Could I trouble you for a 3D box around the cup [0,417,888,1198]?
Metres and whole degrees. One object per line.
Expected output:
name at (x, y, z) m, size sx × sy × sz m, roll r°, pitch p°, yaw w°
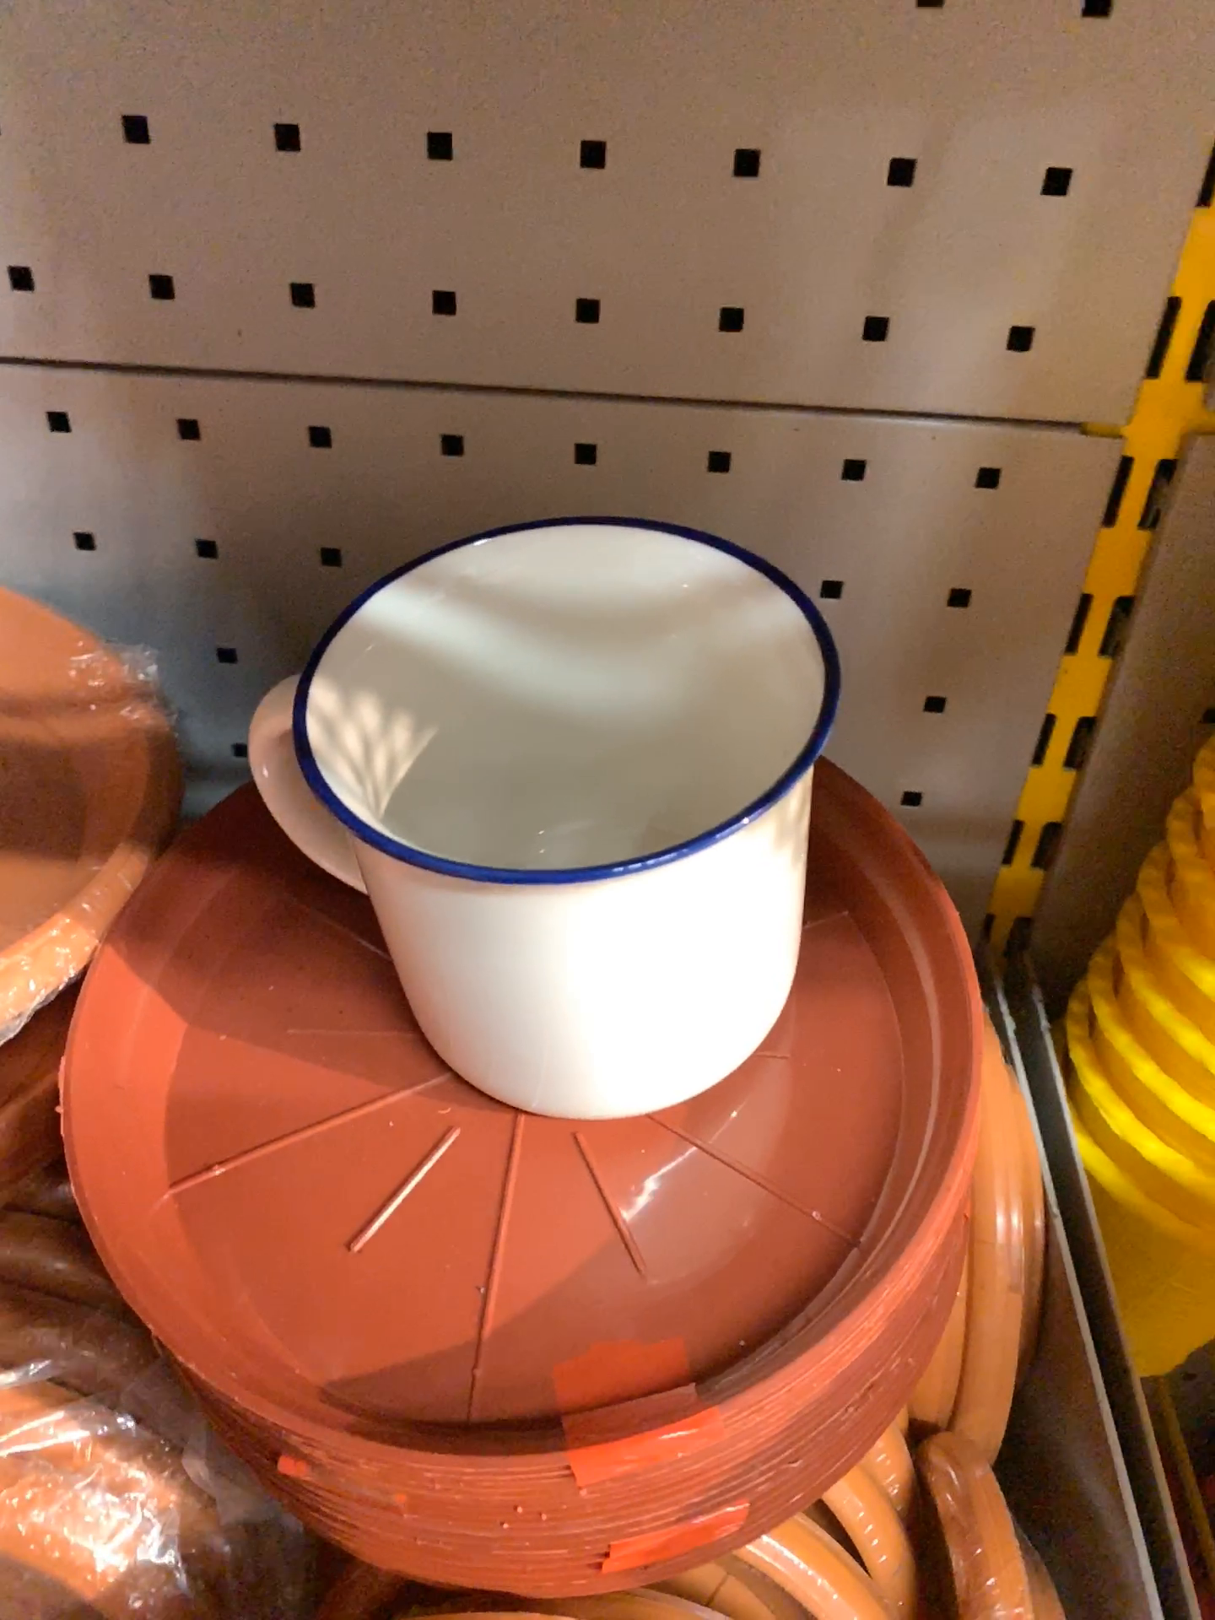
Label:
cup at (-0.020, -0.002, 0.238) m, size 0.120 × 0.090 × 0.090 m, roll 11°, pitch 51°, yaw 12°
